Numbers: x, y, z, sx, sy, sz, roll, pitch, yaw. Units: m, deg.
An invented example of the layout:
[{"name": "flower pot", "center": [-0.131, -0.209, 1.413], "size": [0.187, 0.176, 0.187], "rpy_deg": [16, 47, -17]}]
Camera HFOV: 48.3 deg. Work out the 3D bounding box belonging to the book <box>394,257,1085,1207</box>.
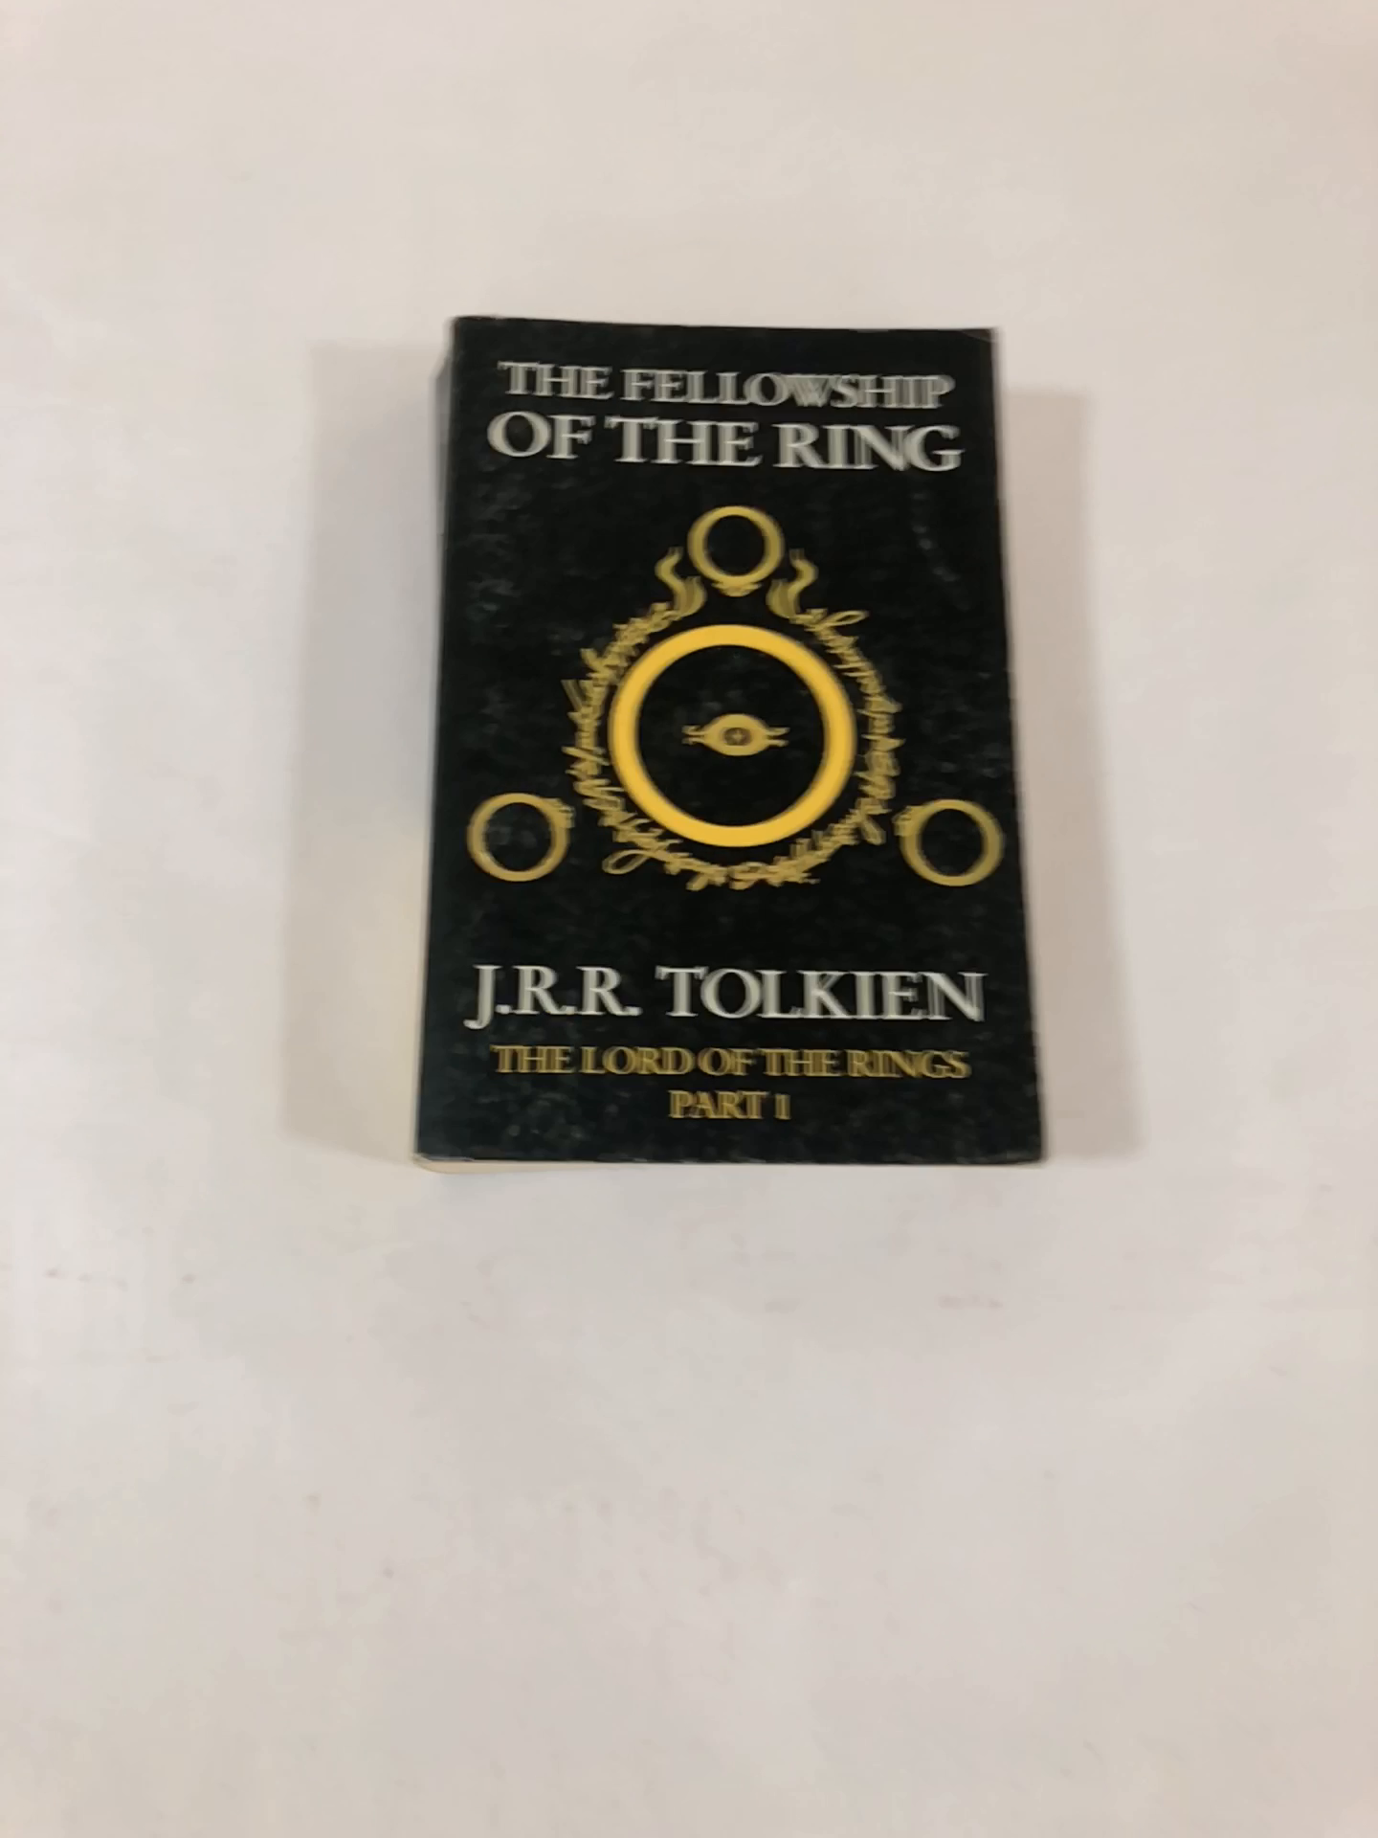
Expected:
[{"name": "book", "center": [0.016, -0.044, 0.341], "size": [0.130, 0.050, 0.200], "rpy_deg": [3, 73, 2]}]
